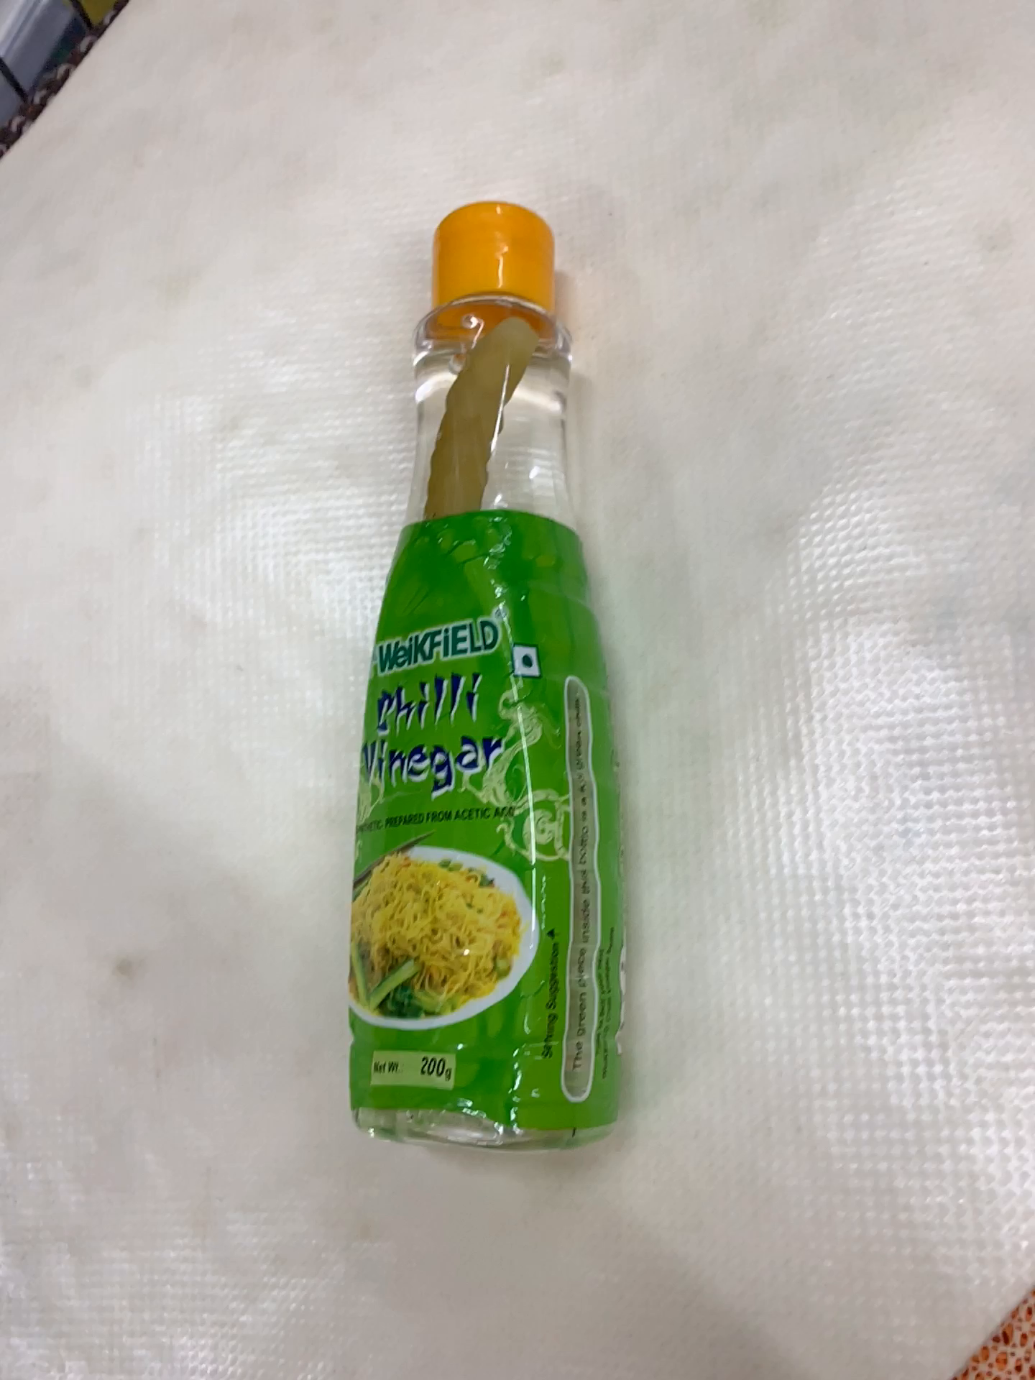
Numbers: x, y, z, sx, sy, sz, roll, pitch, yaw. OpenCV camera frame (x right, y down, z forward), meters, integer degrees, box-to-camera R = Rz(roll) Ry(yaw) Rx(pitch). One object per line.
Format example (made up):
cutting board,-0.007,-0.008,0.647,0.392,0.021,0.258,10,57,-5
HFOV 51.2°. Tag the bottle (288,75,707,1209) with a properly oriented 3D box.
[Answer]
bottle,-0.005,-0.009,0.201,0.060,0.040,0.180,-8,78,36
